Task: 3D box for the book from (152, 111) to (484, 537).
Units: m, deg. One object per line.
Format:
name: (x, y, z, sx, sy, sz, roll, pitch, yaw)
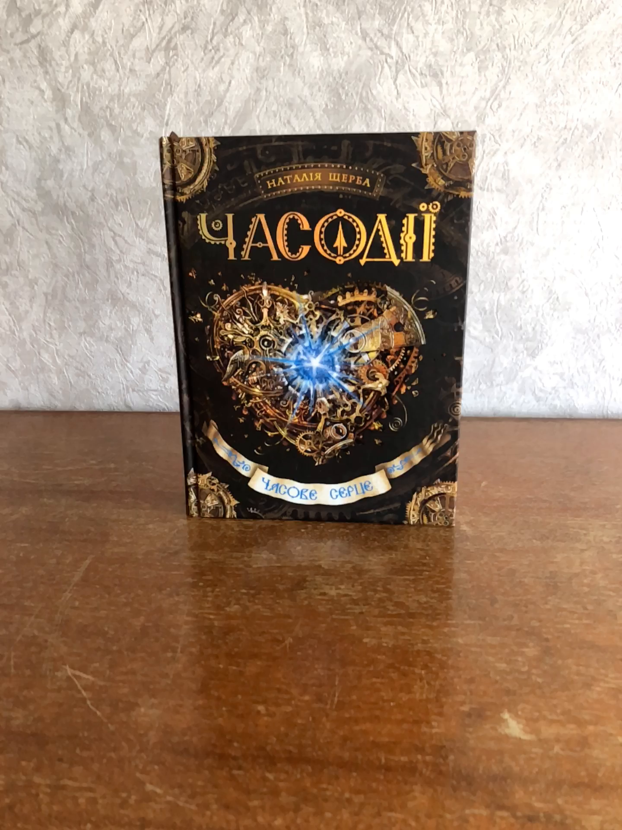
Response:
book: (0.006, -0.045, 0.393, 0.166, 0.228, 0.042, 0, 16, 5)
